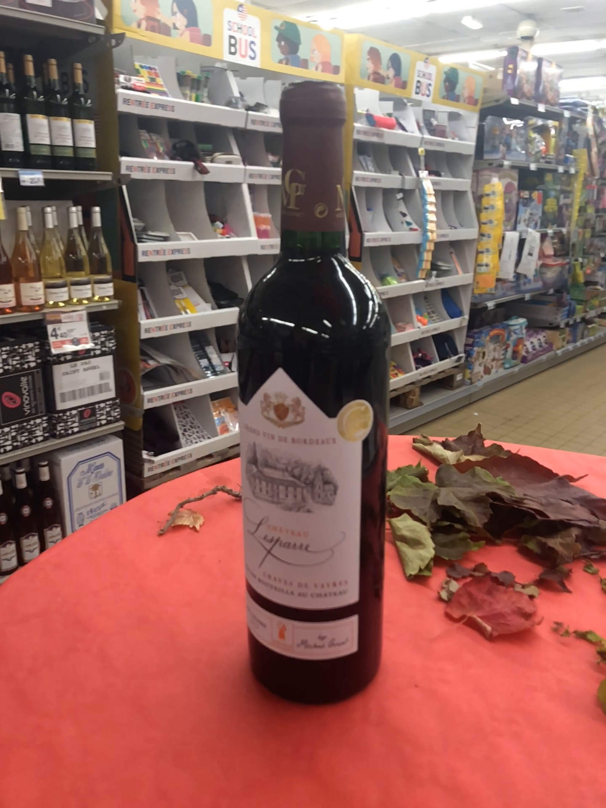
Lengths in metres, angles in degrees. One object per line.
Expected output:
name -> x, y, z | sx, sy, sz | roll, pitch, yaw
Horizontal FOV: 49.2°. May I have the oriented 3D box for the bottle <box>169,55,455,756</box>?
bottle -> 0.003, 0.005, 0.327 | 0.090, 0.299, 0.090 | 2, 17, -1
